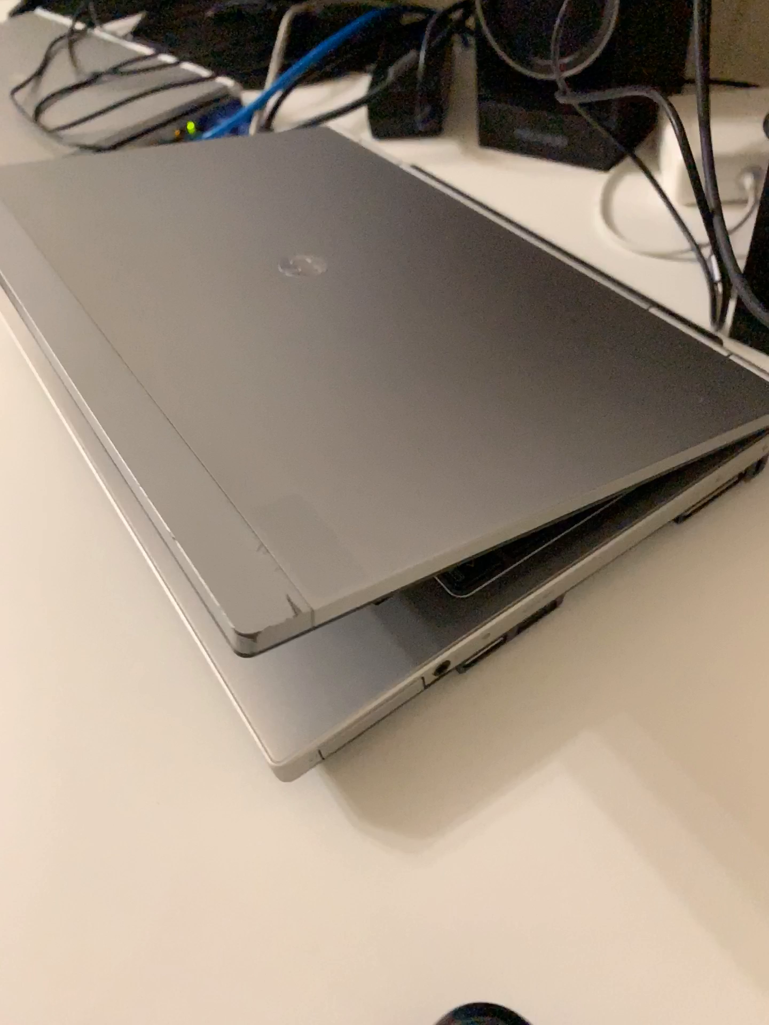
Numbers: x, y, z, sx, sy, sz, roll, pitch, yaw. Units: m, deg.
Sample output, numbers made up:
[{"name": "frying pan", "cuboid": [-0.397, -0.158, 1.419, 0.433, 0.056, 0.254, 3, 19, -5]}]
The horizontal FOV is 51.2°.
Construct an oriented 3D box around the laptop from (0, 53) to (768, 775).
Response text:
[{"name": "laptop", "cuboid": [-0.032, -0.083, 0.315, 0.200, 0.042, 0.305, -33, 52, -14]}]
